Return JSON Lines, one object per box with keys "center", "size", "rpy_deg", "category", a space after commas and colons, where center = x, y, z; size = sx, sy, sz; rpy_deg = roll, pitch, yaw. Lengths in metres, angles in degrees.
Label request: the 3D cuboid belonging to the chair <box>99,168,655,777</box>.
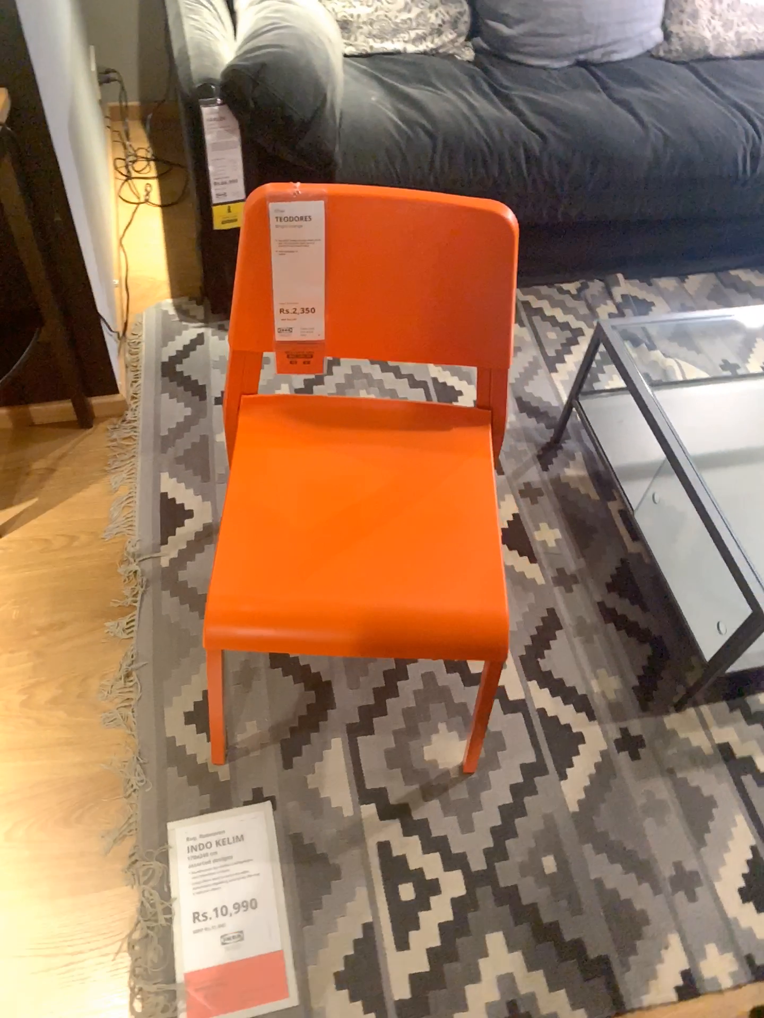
{"center": [-0.028, -0.005, 1.190], "size": [0.520, 0.728, 0.582], "rpy_deg": [2, 53, -4], "category": "chair"}
